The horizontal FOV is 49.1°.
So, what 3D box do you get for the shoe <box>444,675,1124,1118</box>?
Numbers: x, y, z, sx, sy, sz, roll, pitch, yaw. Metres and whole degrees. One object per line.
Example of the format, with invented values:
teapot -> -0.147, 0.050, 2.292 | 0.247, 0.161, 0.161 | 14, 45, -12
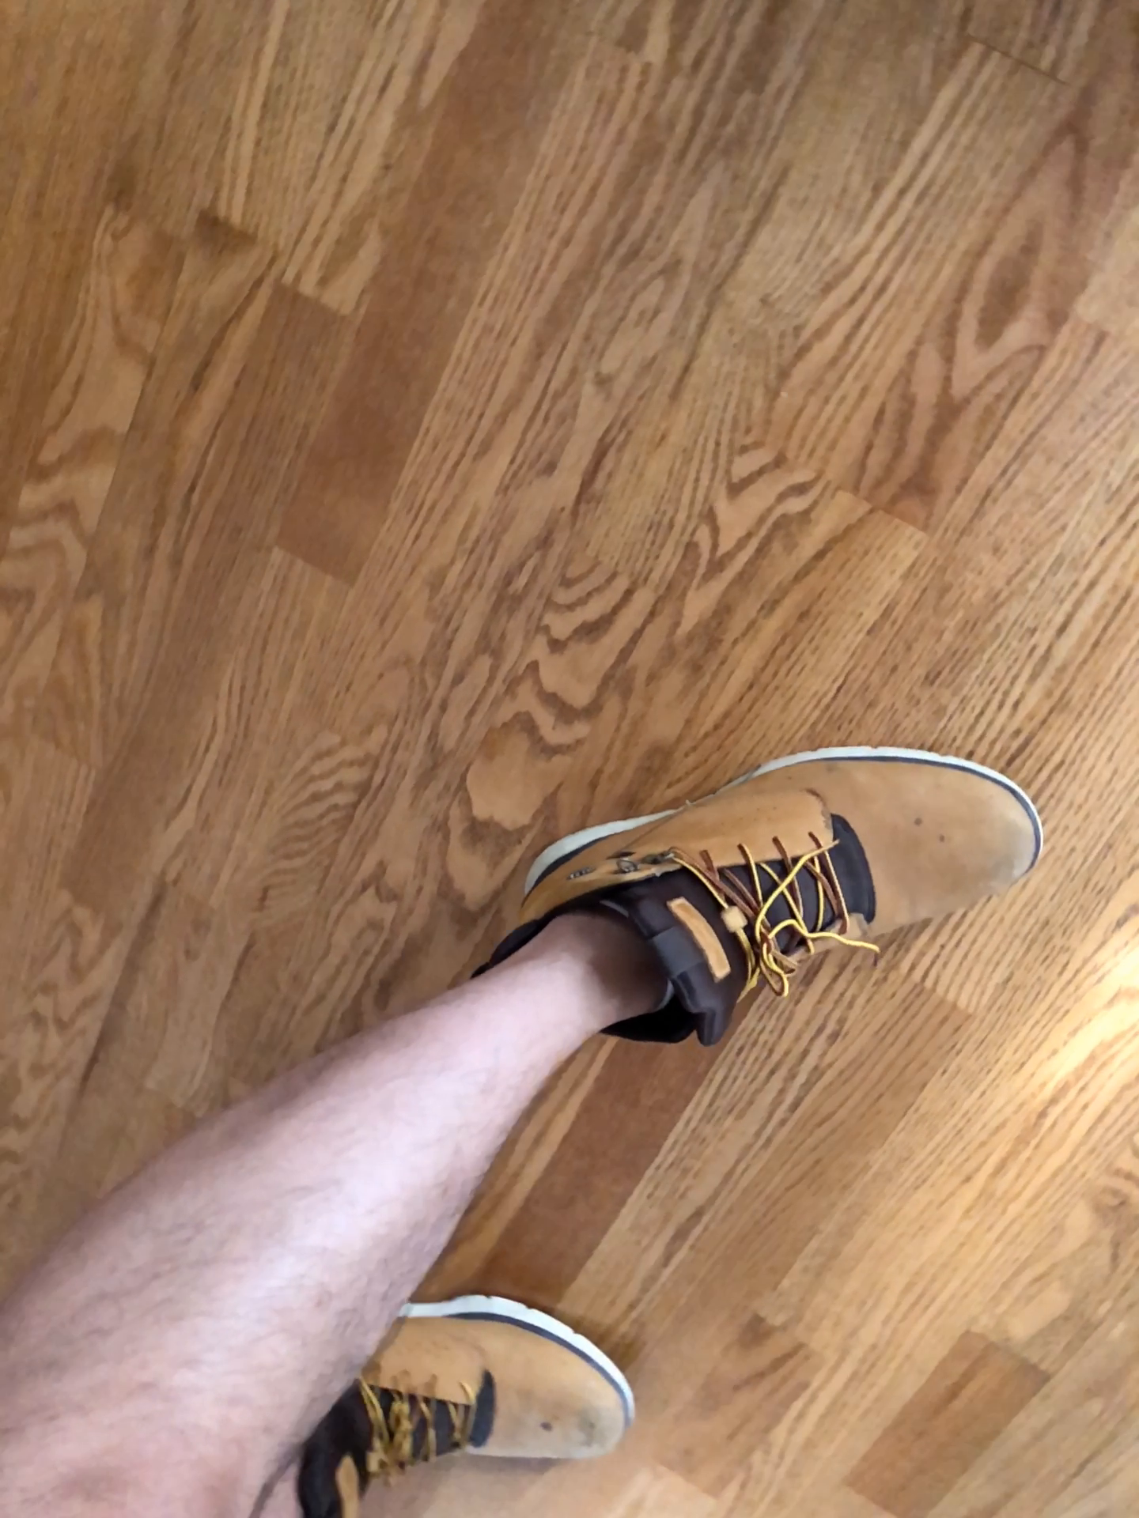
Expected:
shoe -> 0.108, 0.068, 0.686 | 0.310, 0.150, 0.120 | -17, 101, 7
